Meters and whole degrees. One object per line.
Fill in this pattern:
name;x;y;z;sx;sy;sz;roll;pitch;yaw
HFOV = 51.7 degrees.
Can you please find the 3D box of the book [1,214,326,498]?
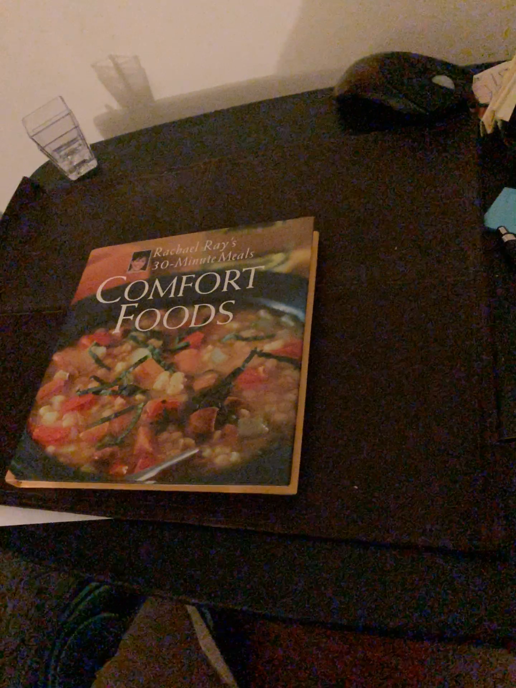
book;-0.058;0.003;0.374;0.201;0.020;0.201;-5;55;20
